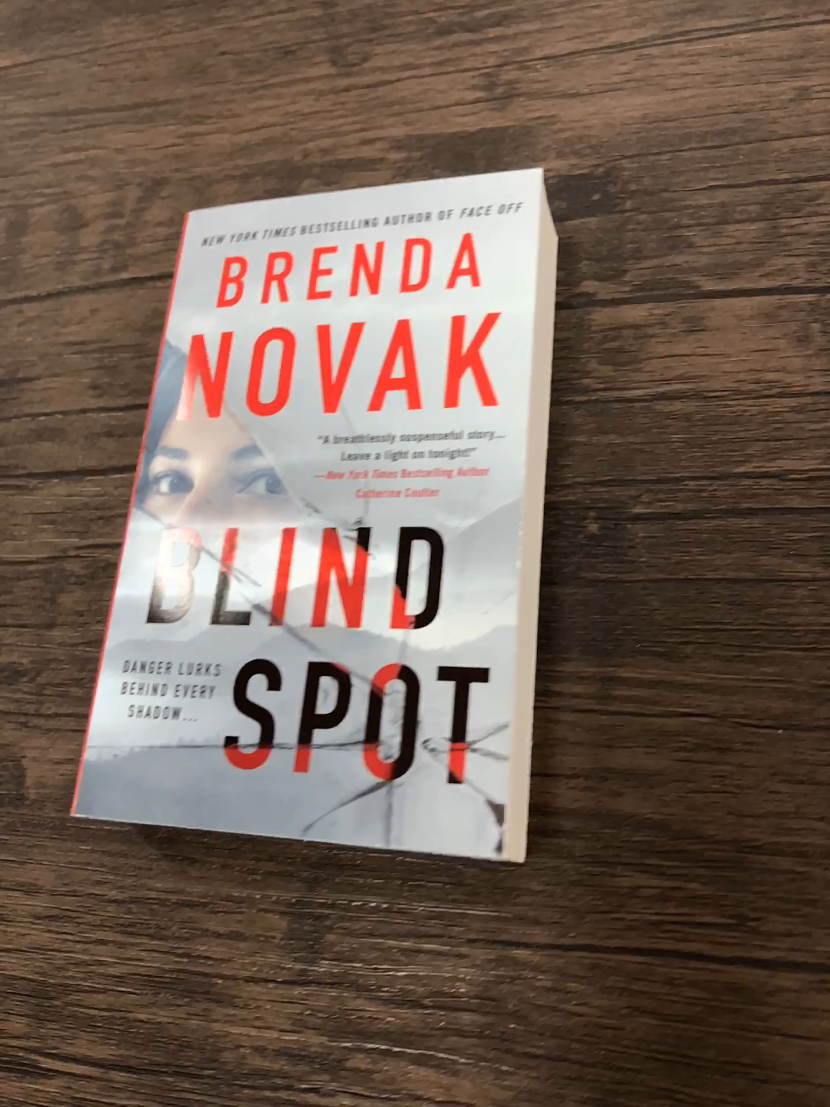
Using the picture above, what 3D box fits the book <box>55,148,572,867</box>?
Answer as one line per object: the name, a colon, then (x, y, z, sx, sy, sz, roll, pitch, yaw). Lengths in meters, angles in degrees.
book: (-0.018, -0.015, 0.244, 0.109, 0.039, 0.175, 0, 72, 15)
